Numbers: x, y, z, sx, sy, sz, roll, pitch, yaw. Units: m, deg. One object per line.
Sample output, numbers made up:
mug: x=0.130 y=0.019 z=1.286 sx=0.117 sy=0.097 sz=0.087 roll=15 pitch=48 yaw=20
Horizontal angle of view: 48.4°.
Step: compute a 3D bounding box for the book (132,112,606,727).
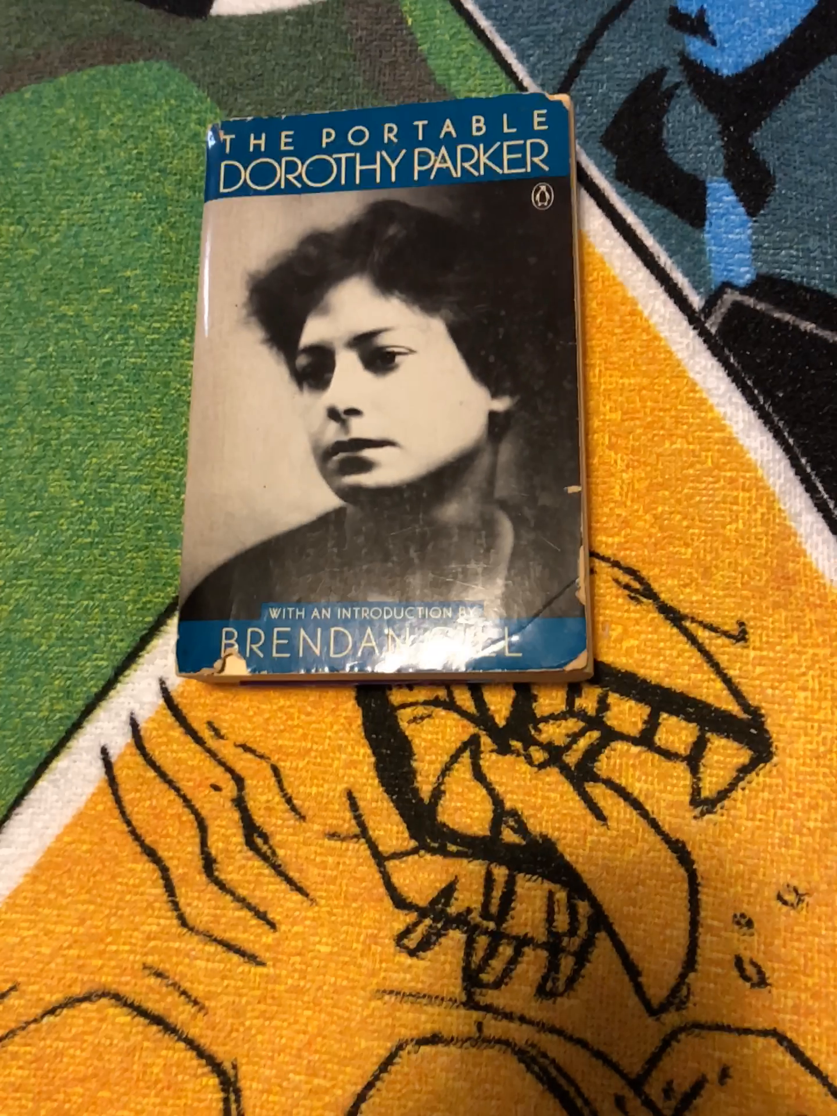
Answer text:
book: x=-0.013 y=-0.046 z=0.314 sx=0.140 sy=0.040 sz=0.200 roll=0 pitch=78 yaw=5
